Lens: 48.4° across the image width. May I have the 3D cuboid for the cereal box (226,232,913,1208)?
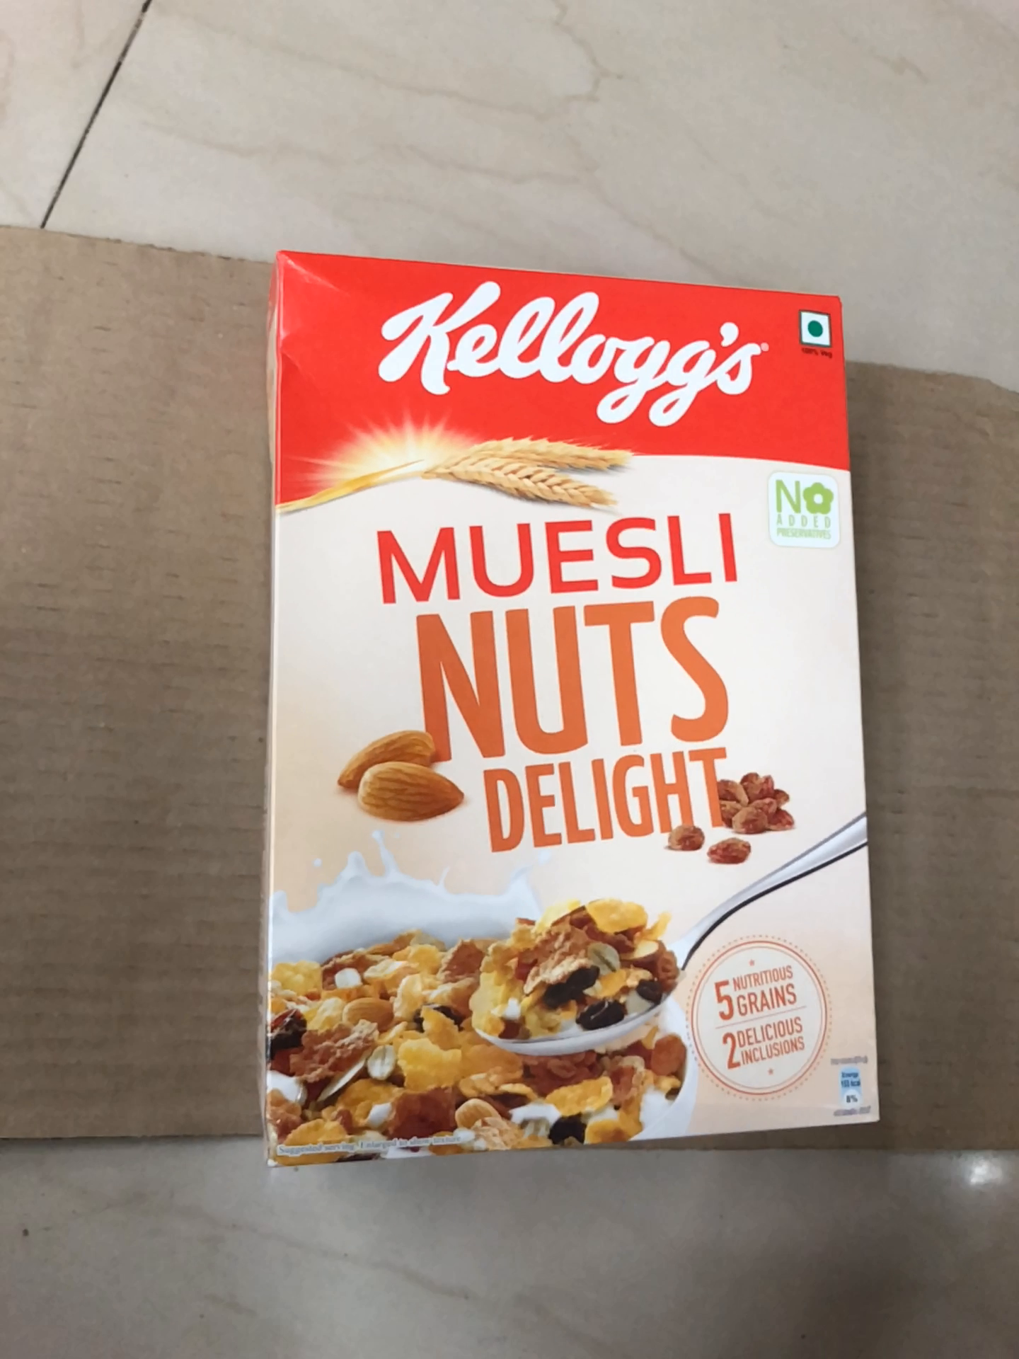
[{"bbox_3d":[0.012,0.010,0.350,0.190,0.080,0.250,0,87,-12],"label":"cereal box"}]
